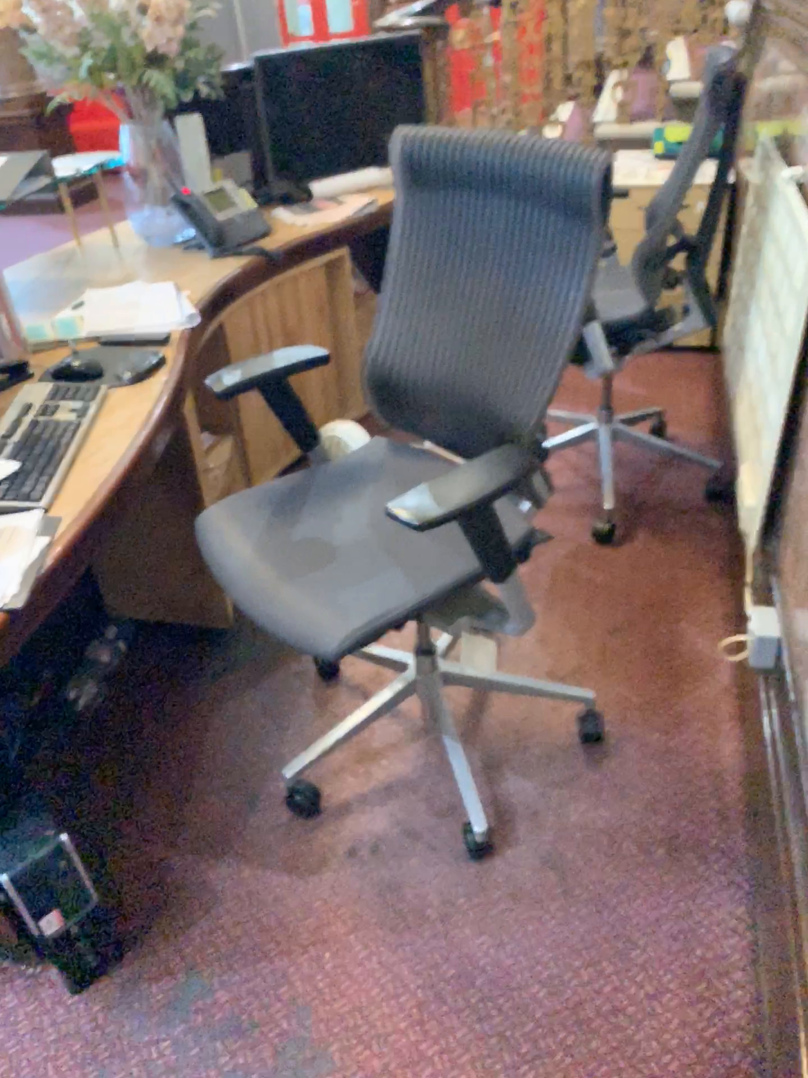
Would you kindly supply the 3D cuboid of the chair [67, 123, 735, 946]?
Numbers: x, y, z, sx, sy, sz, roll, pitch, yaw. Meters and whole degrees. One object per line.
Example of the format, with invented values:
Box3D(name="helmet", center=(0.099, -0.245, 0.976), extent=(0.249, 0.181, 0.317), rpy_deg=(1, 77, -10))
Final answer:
Box3D(name="chair", center=(0.003, -0.058, 1.512), extent=(0.692, 1.129, 0.725), rpy_deg=(-25, 37, -26))
